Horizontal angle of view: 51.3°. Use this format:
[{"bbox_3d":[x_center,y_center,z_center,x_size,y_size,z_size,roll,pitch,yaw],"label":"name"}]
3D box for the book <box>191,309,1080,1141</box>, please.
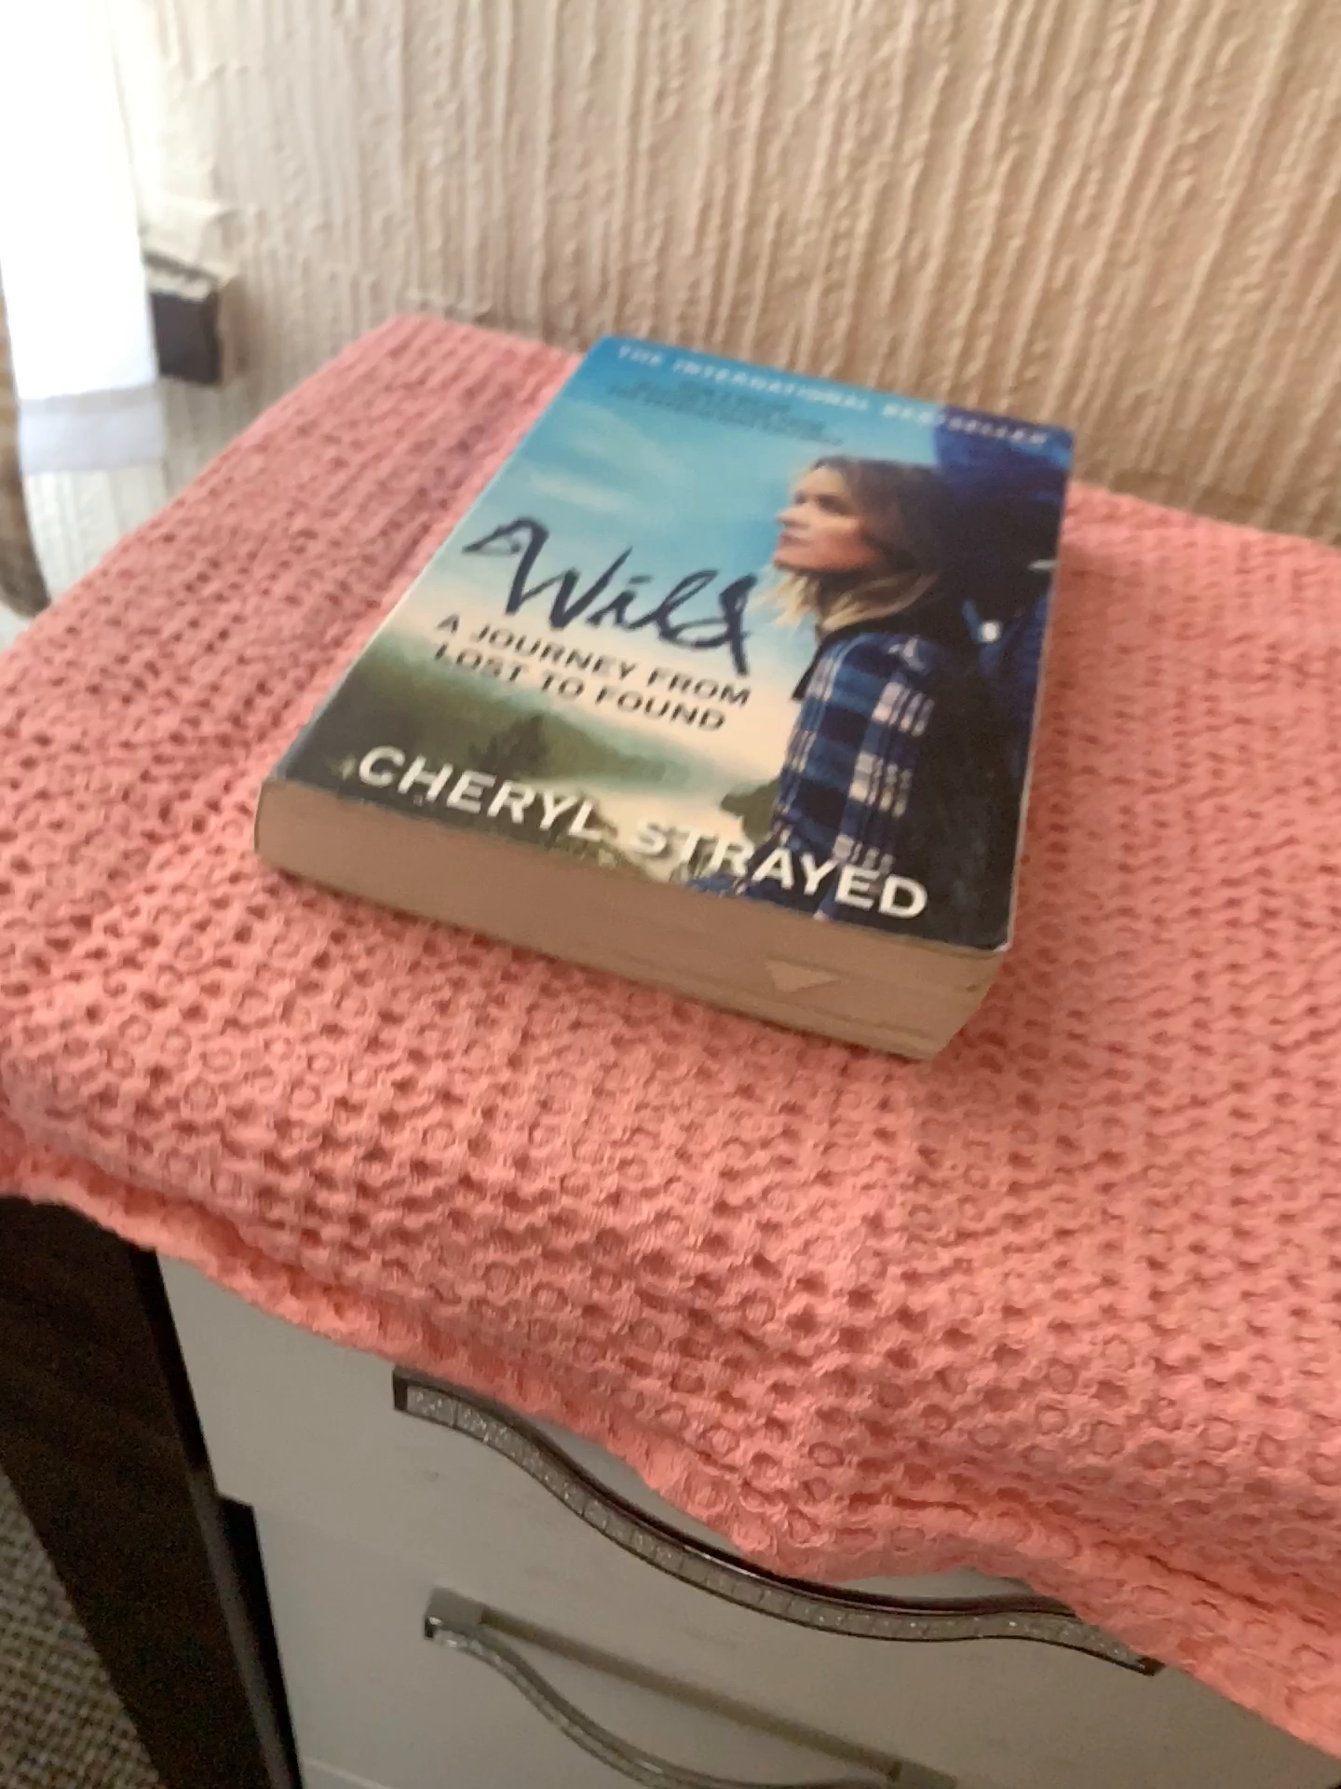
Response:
[{"bbox_3d":[0.013,-0.058,0.306,0.140,0.030,0.212,15,45,5],"label":"book"}]
